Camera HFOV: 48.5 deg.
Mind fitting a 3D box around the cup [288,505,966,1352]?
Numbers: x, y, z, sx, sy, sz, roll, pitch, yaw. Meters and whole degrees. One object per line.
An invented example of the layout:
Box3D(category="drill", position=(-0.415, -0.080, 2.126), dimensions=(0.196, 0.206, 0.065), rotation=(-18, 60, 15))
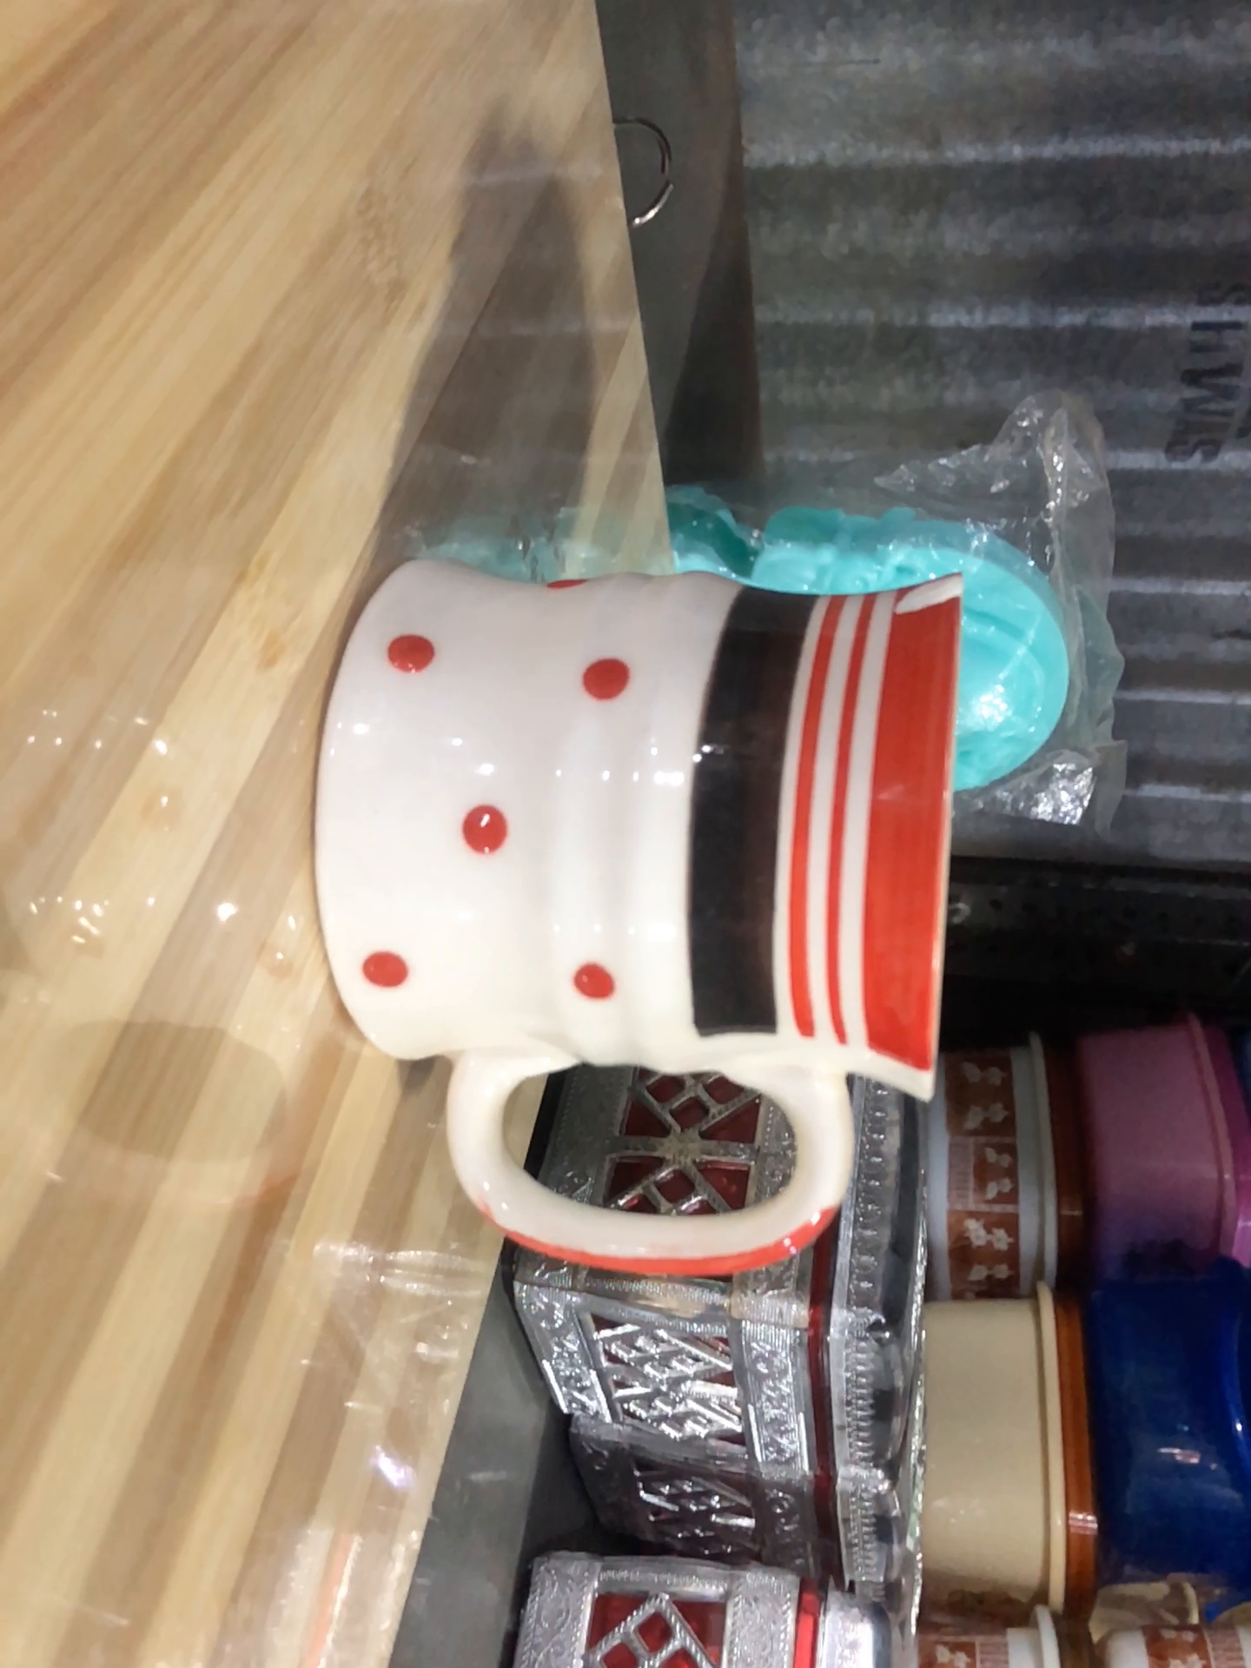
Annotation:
Box3D(category="cup", position=(0.008, 0.009, 0.237), dimensions=(0.100, 0.090, 0.110), rotation=(3, 90, -78))
